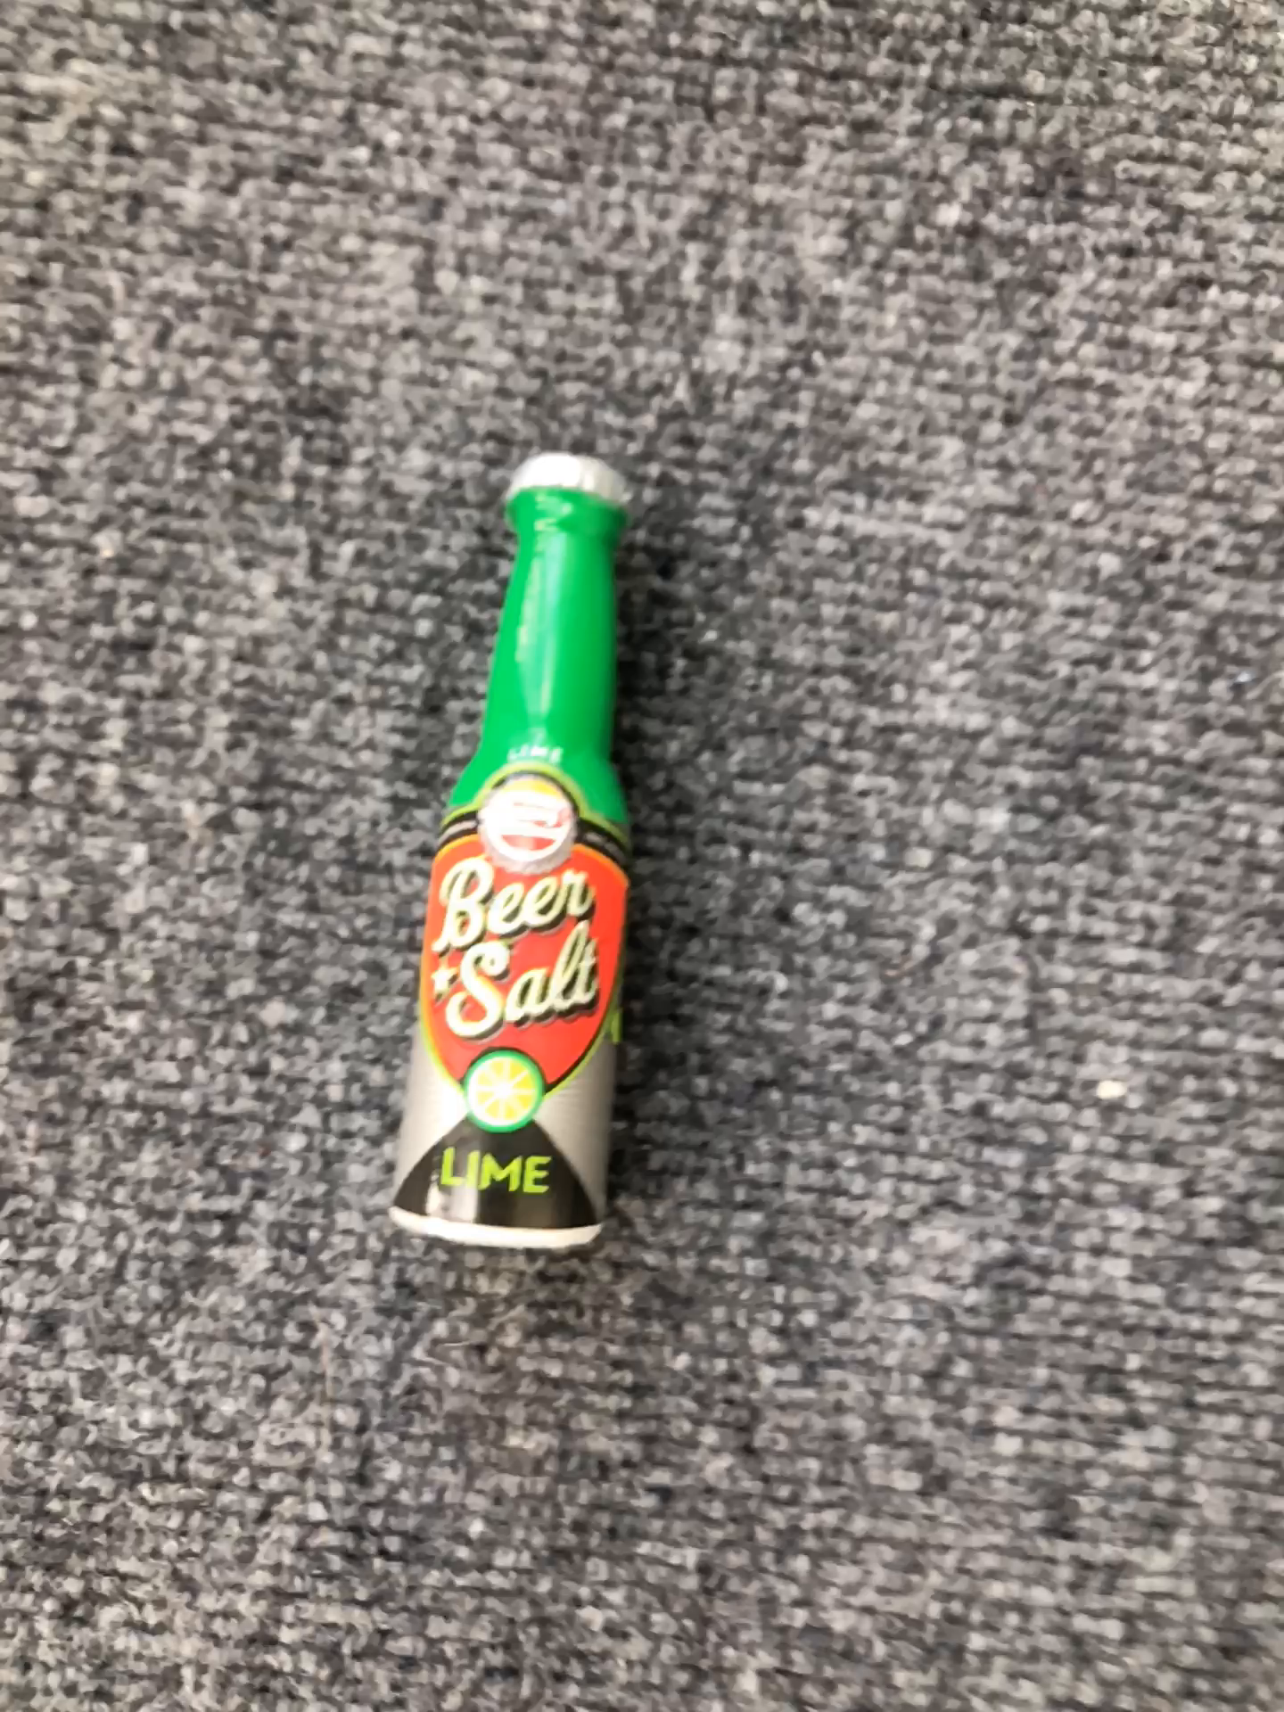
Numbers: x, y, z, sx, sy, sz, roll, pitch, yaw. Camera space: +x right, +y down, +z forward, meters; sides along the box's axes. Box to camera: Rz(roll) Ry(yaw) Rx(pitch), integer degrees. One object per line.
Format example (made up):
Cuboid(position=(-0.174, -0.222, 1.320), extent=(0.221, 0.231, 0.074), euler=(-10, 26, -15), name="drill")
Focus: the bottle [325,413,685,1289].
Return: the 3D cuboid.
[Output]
Cuboid(position=(-0.017, 0.000, 0.187), extent=(0.033, 0.030, 0.101), euler=(6, 86, -3), name="bottle")
